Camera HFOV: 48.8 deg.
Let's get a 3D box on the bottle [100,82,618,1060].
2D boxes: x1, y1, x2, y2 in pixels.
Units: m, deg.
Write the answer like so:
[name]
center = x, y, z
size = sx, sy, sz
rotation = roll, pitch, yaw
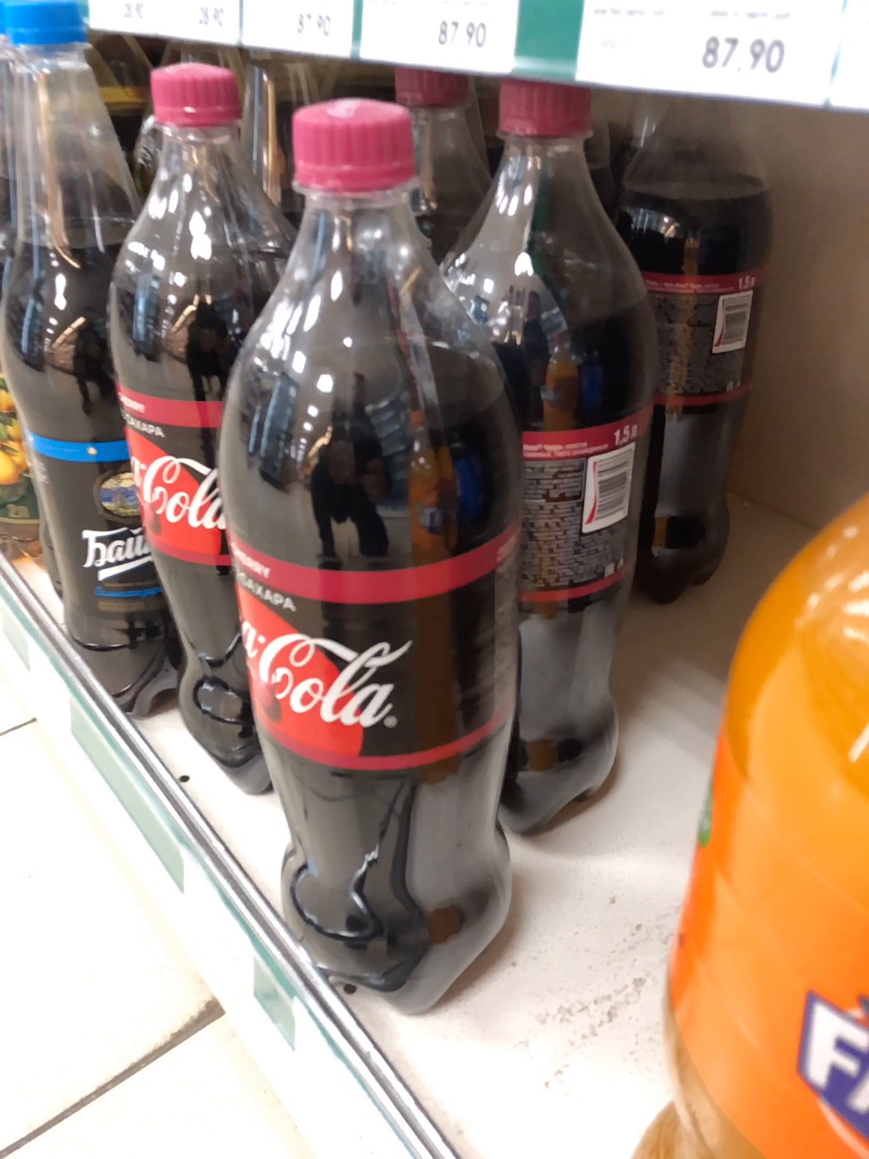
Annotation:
[bottle]
center = -0.018, 0.011, 0.311
size = 0.088, 0.295, 0.092
rotation = -1, 33, 0
